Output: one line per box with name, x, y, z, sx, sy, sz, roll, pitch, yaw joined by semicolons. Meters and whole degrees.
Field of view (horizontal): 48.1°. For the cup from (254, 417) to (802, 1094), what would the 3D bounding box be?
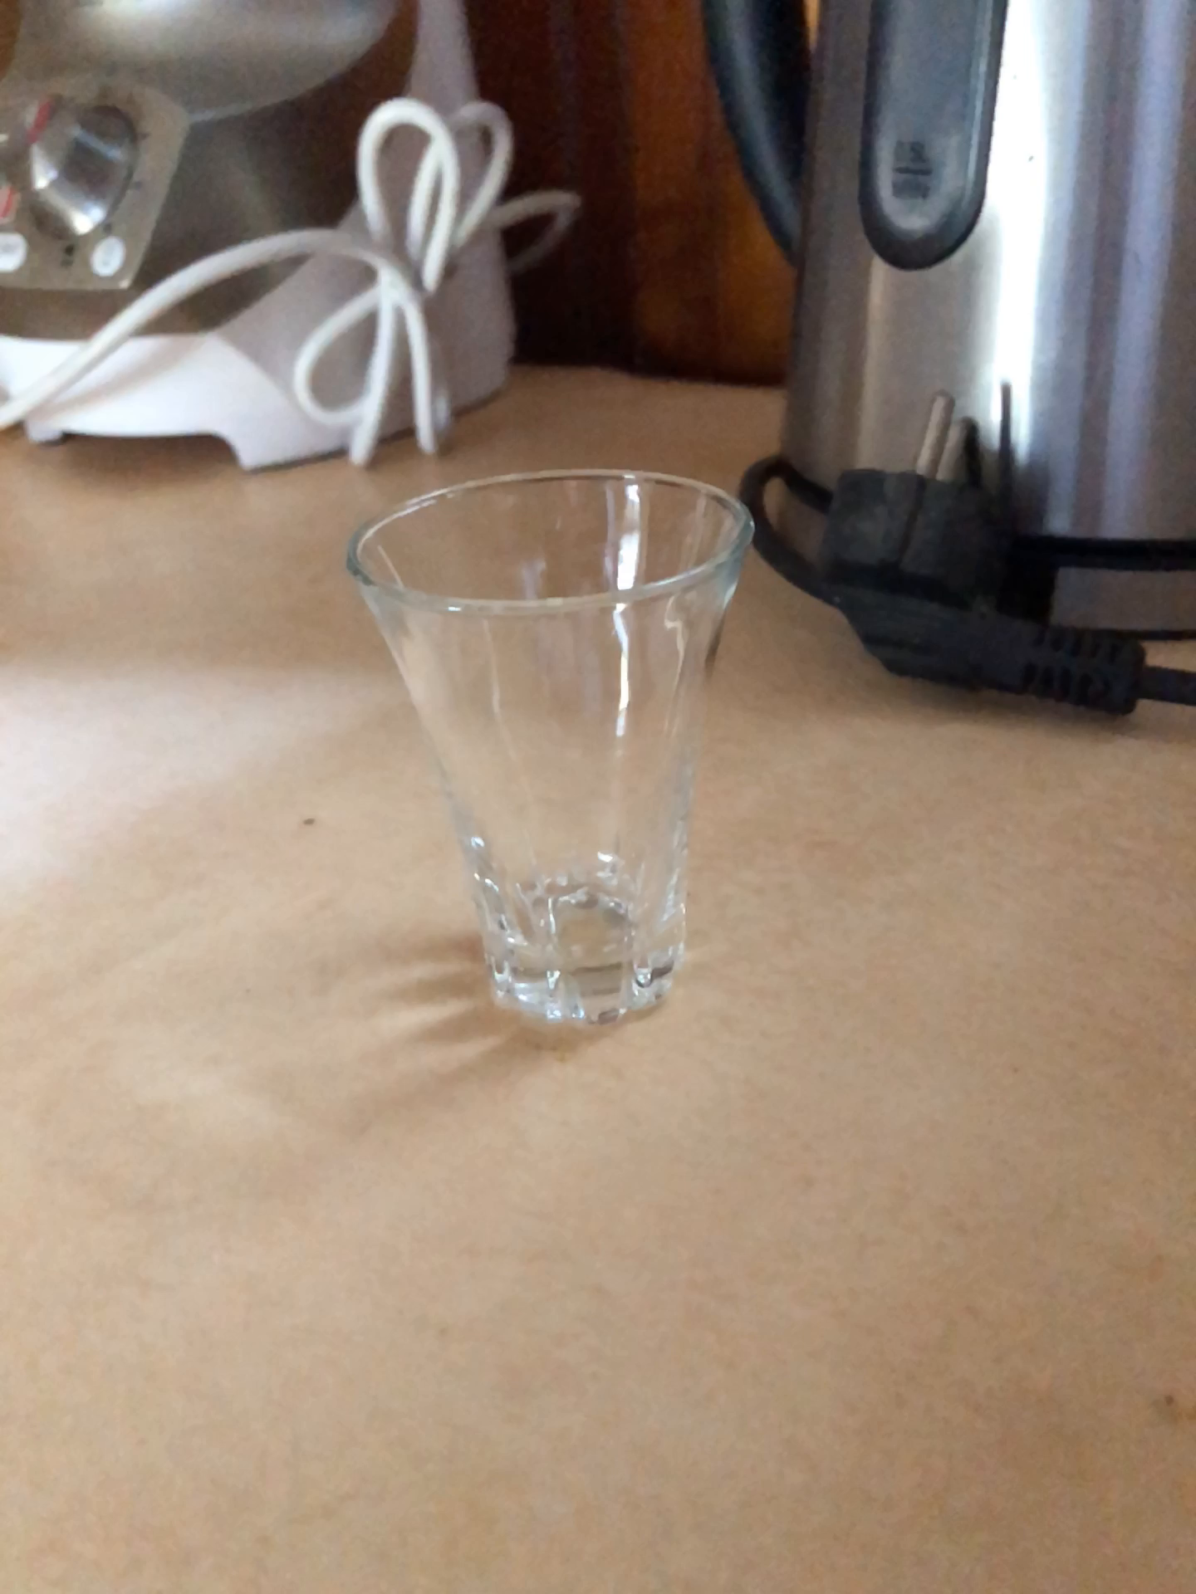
cup;-0.007;-0.009;0.189;0.050;0.070;0.050;-3;30;2
